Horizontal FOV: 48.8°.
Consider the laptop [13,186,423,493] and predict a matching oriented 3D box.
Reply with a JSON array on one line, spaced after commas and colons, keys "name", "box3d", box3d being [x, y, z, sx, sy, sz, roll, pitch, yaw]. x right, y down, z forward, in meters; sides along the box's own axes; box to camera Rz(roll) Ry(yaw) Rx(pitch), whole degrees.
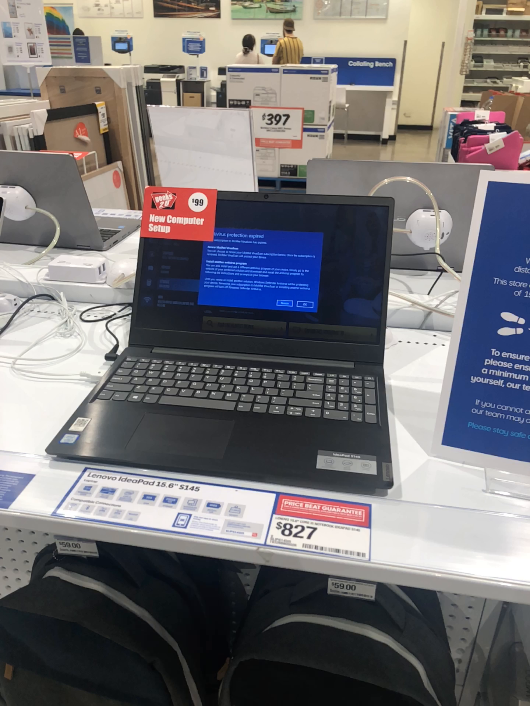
[{"name": "laptop", "box3d": [-0.022, -0.053, 0.696, 0.353, 0.192, 0.370, 4, 28, 7]}]
